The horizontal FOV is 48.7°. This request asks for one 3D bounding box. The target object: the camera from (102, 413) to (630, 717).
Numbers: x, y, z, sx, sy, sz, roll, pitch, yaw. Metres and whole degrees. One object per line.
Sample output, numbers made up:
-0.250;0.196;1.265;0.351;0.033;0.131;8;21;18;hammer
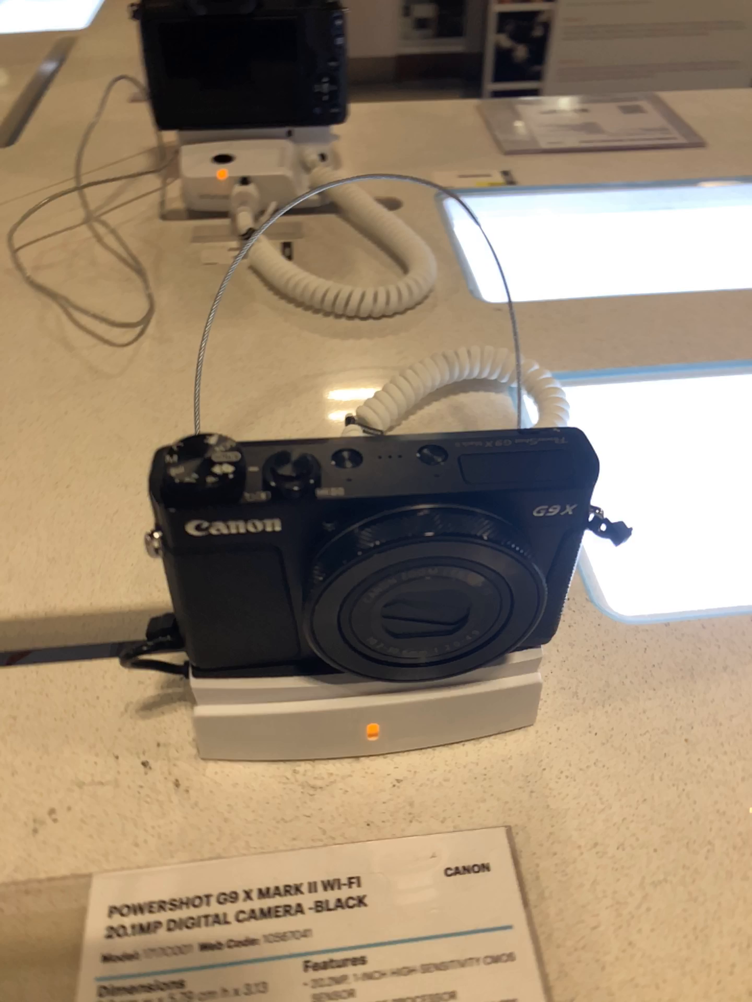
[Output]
-0.002;0.016;0.188;0.100;0.060;0.030;-3;42;-4;camera
